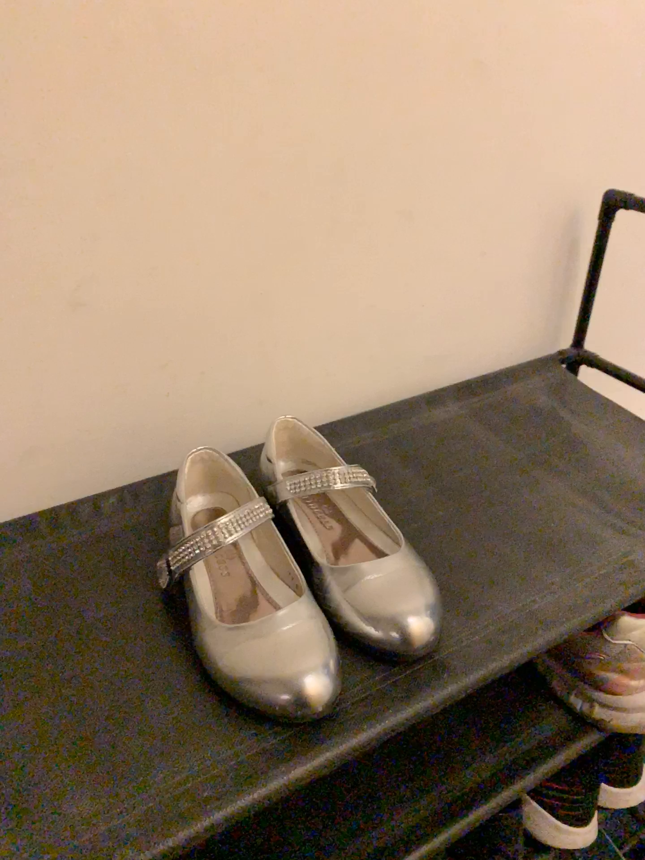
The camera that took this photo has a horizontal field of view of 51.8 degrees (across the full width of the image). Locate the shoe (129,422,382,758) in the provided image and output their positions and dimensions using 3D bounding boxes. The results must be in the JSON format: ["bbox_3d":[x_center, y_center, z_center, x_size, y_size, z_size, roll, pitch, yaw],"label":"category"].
[{"bbox_3d":[-0.049,0.087,0.426,0.090,0.089,0.181,-19,35,-20],"label":"shoe"}]

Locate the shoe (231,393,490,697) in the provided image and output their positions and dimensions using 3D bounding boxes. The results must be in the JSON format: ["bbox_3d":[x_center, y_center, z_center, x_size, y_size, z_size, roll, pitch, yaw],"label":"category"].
[{"bbox_3d":[0.018,0.065,0.453,0.090,0.089,0.181,-19,35,-20],"label":"shoe"}]
